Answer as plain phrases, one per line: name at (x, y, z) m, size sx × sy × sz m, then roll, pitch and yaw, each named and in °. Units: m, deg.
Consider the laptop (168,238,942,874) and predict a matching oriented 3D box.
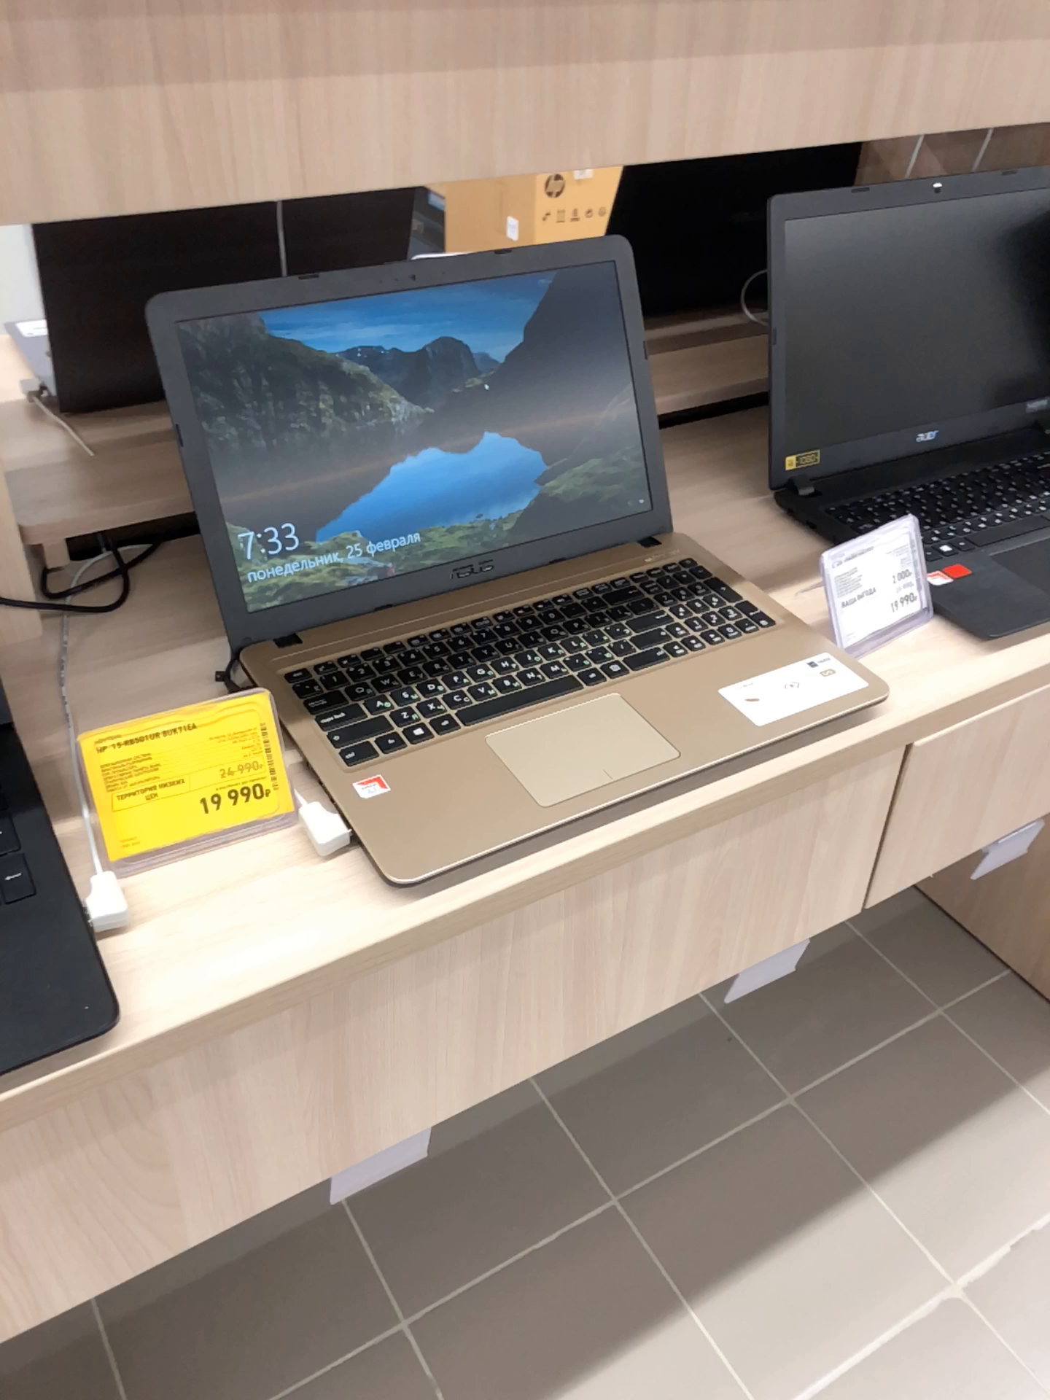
laptop at (0.004, -0.137, 0.781) m, size 0.367 × 0.208 × 0.351 m, roll -18°, pitch 42°, yaw -27°
